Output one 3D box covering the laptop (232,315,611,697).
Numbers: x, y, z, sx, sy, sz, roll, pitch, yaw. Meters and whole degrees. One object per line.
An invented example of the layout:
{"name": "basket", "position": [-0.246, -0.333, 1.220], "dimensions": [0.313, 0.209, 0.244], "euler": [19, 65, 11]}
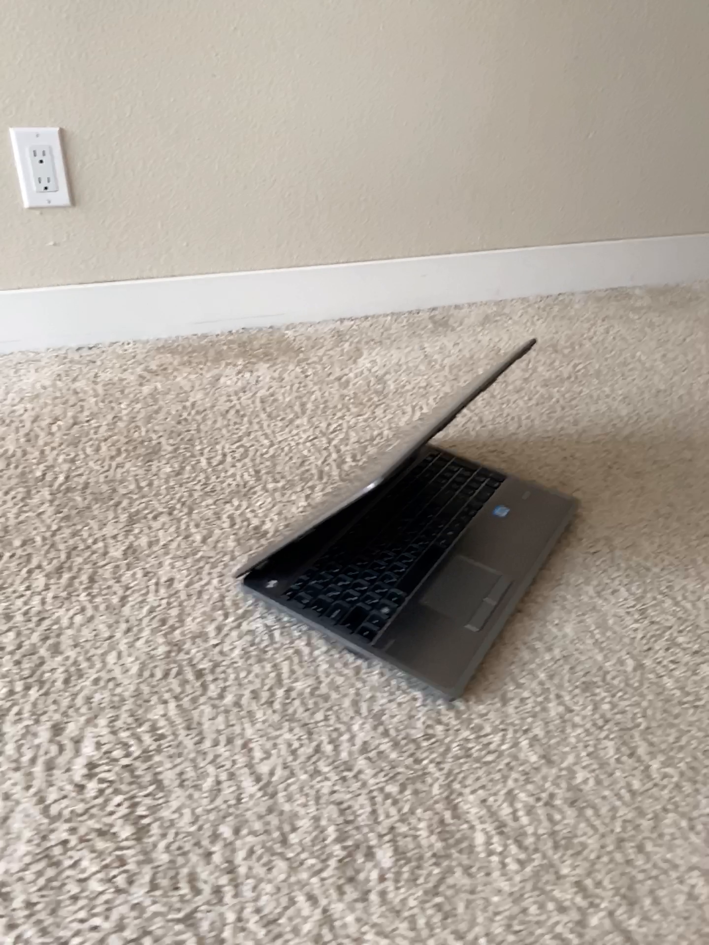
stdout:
{"name": "laptop", "position": [0.085, 0.001, 0.791], "dimensions": [0.254, 0.186, 0.369], "euler": [21, 37, 24]}
